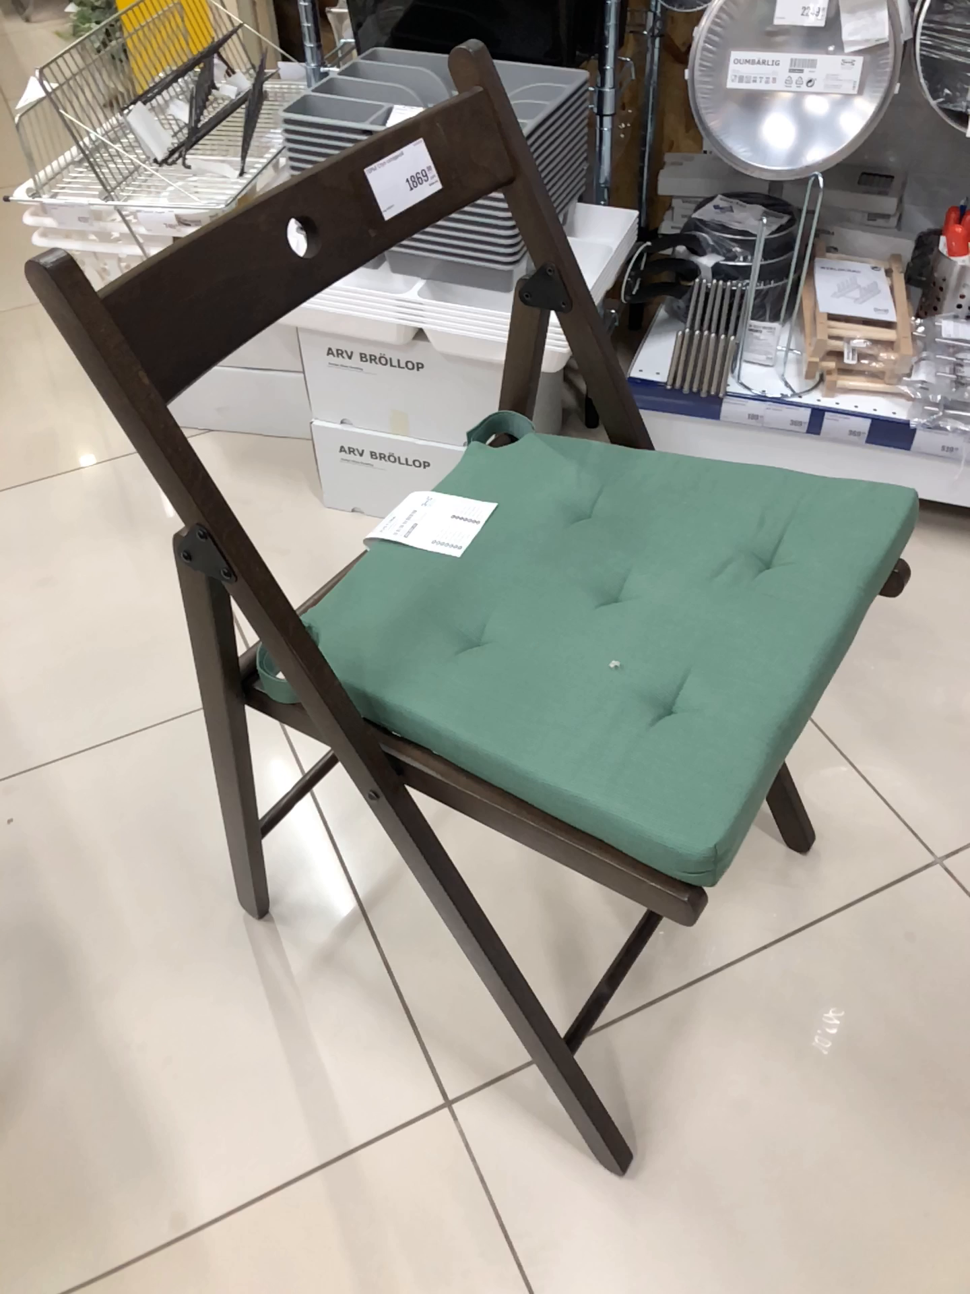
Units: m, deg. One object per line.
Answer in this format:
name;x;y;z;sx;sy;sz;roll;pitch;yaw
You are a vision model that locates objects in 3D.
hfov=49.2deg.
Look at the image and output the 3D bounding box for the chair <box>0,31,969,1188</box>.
chair;0.040;-0.018;0.856;0.481;0.685;0.442;25;52;24
